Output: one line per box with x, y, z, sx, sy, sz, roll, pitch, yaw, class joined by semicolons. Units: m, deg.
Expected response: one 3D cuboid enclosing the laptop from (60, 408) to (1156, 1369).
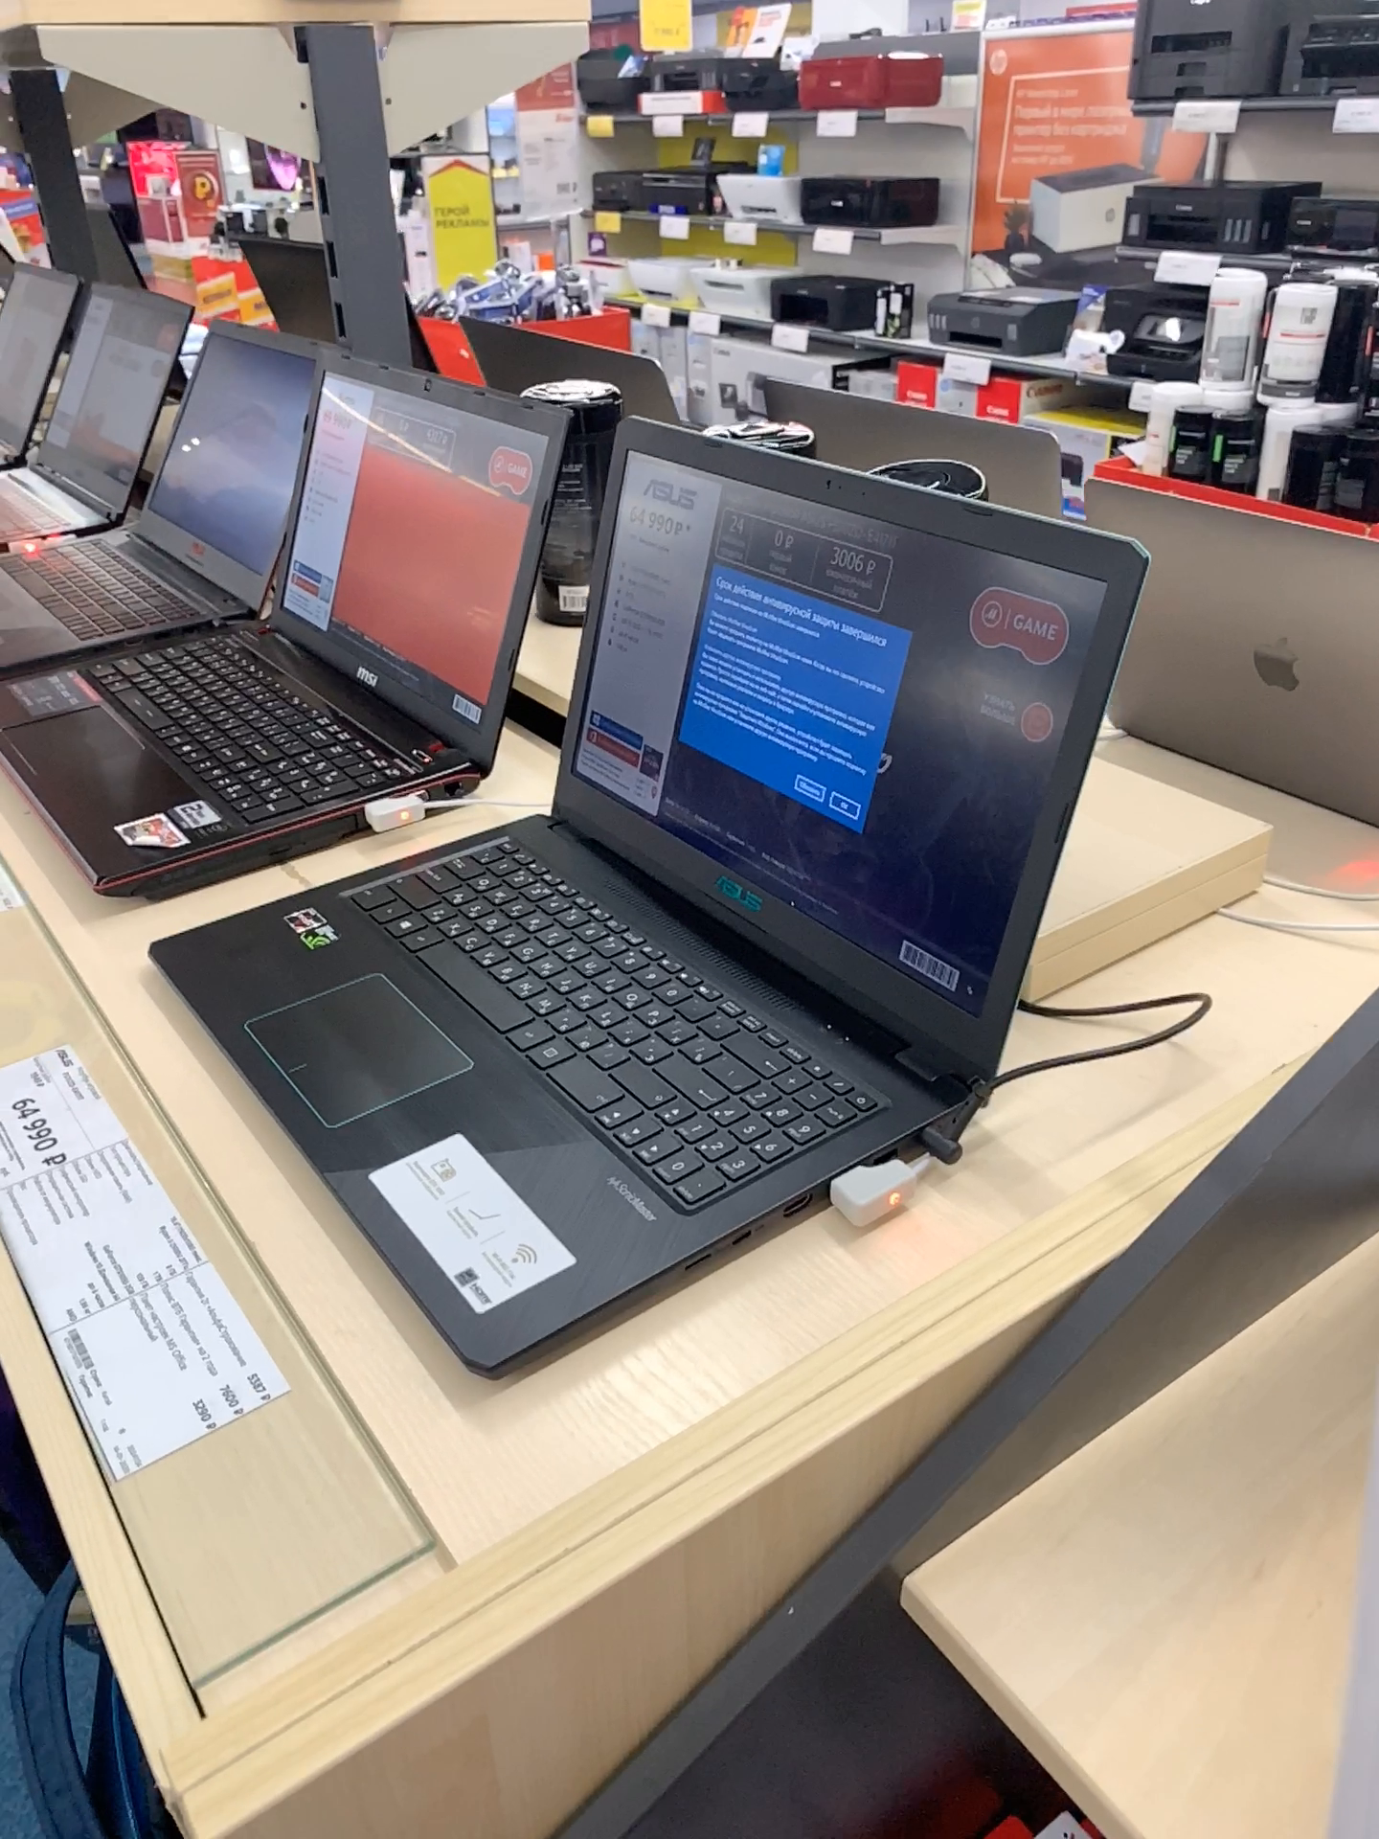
-0.050;-0.067;0.641;0.318;0.222;0.359;-22;35;-30;laptop
